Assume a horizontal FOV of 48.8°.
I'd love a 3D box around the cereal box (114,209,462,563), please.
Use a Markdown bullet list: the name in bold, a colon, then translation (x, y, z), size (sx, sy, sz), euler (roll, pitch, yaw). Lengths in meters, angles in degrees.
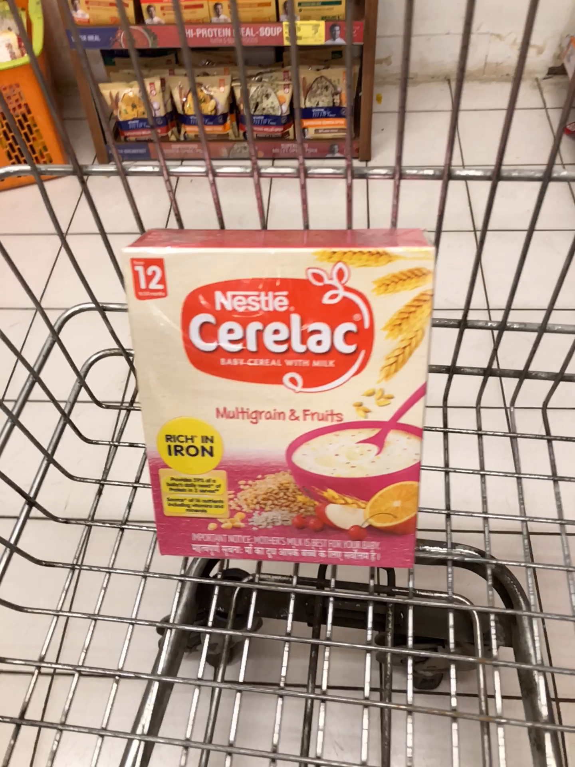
- **cereal box**: translation (0.002, 0.004, 0.353), size (0.160, 0.189, 0.050), euler (1, 25, 5)
